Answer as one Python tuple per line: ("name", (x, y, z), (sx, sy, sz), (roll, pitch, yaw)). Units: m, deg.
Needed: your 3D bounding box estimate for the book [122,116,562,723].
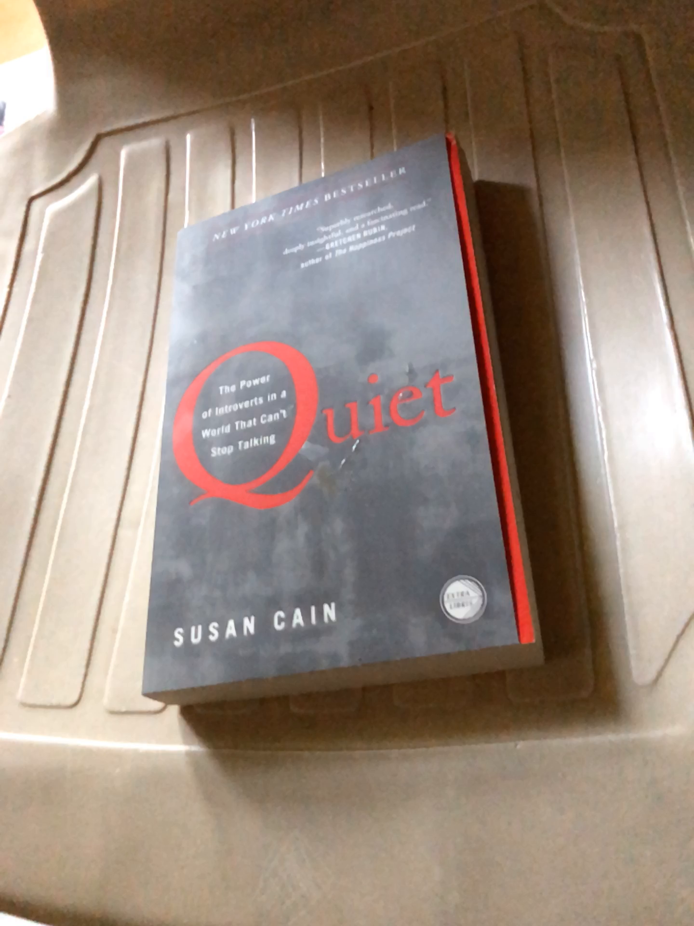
("book", (-0.008, -0.020, 0.276), (0.130, 0.030, 0.200), (-12, 63, 18))
